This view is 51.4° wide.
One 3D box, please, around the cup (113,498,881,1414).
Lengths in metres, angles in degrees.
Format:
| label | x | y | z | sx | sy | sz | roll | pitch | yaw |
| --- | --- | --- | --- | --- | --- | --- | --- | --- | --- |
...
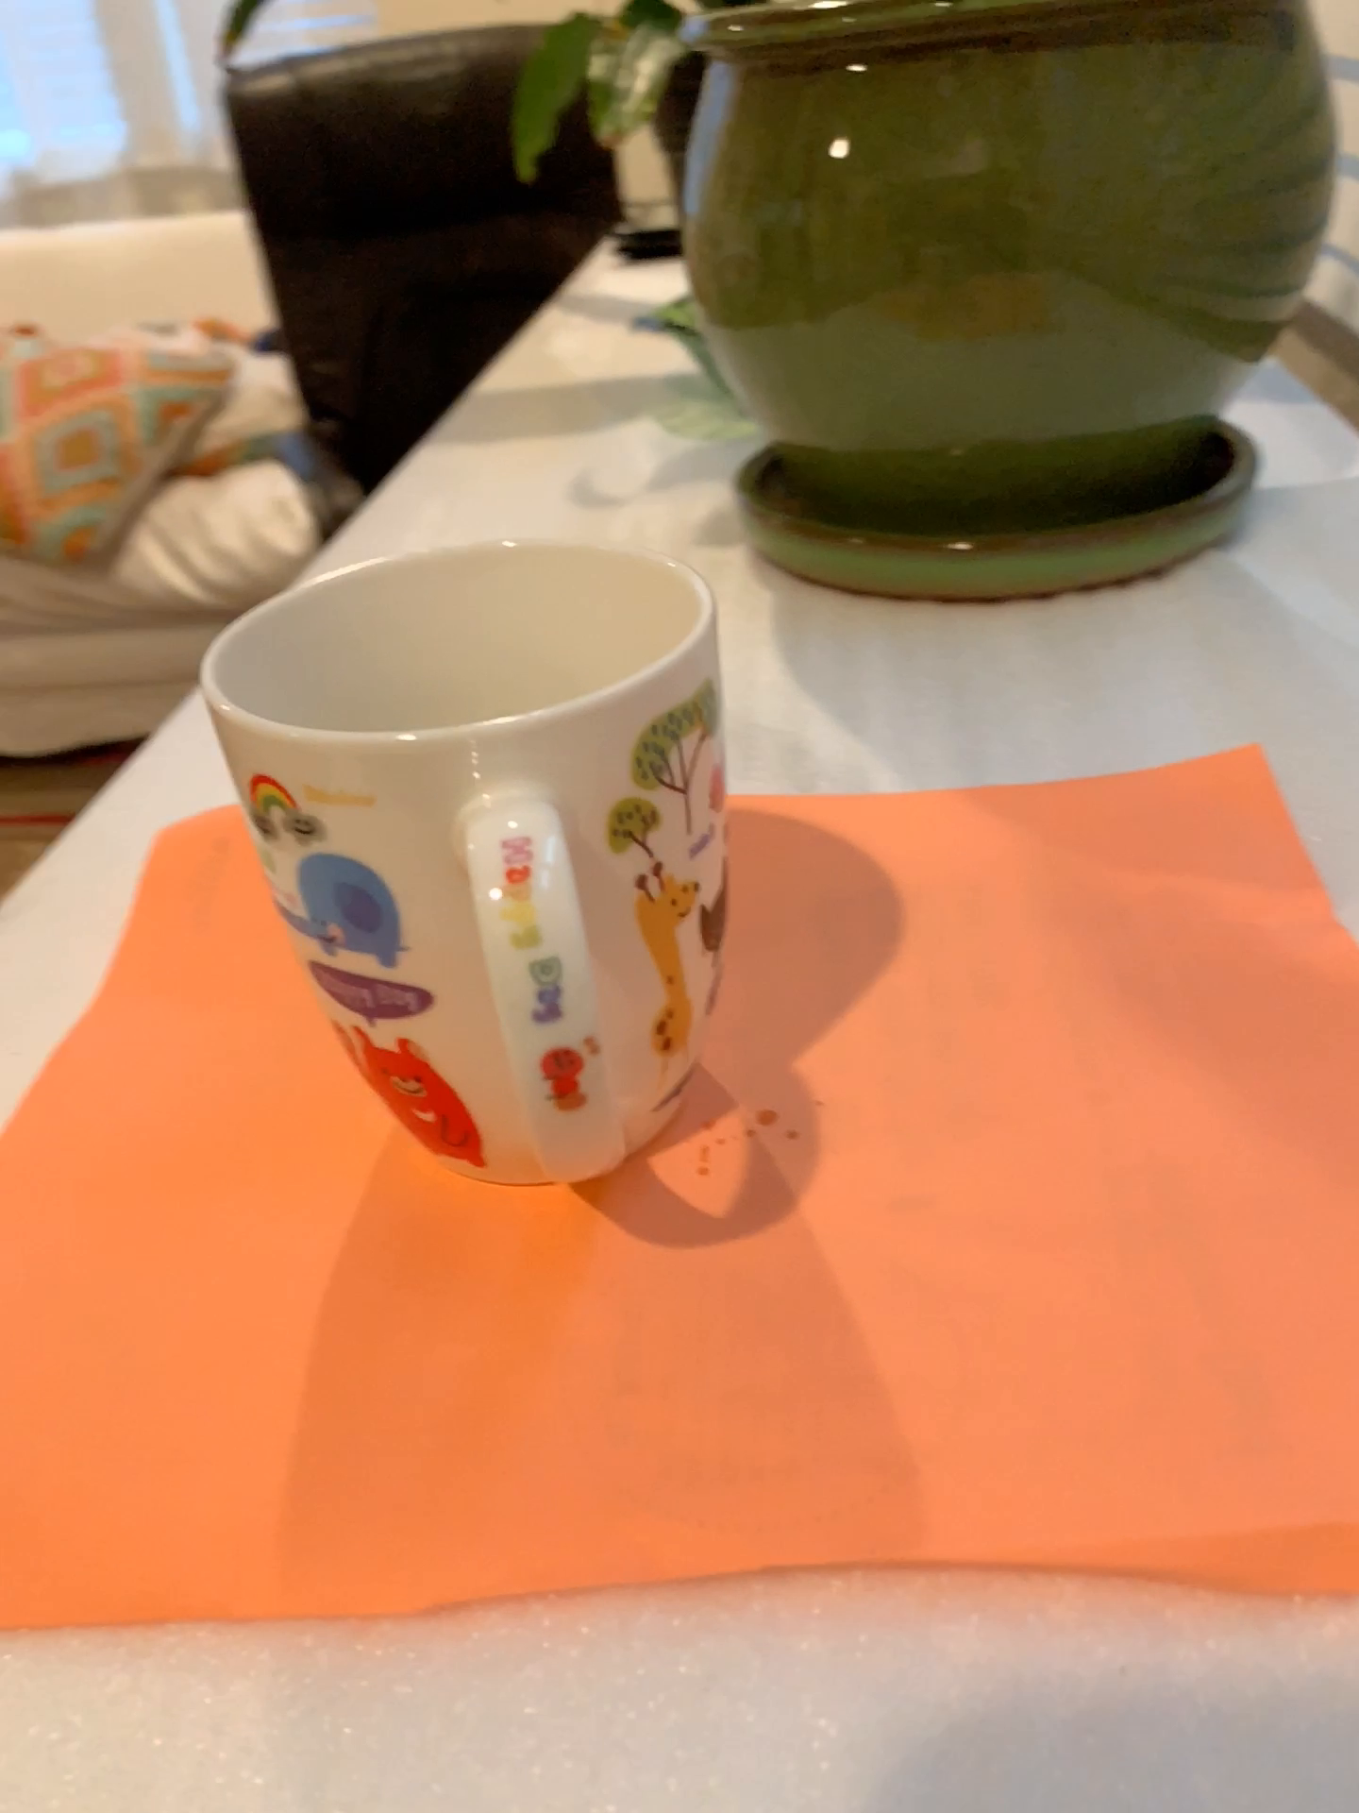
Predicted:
| label | x | y | z | sx | sy | sz | roll | pitch | yaw |
| --- | --- | --- | --- | --- | --- | --- | --- | --- | --- |
| cup | -0.029 | -0.002 | 0.241 | 0.090 | 0.089 | 0.121 | -11 | 33 | -7 |
